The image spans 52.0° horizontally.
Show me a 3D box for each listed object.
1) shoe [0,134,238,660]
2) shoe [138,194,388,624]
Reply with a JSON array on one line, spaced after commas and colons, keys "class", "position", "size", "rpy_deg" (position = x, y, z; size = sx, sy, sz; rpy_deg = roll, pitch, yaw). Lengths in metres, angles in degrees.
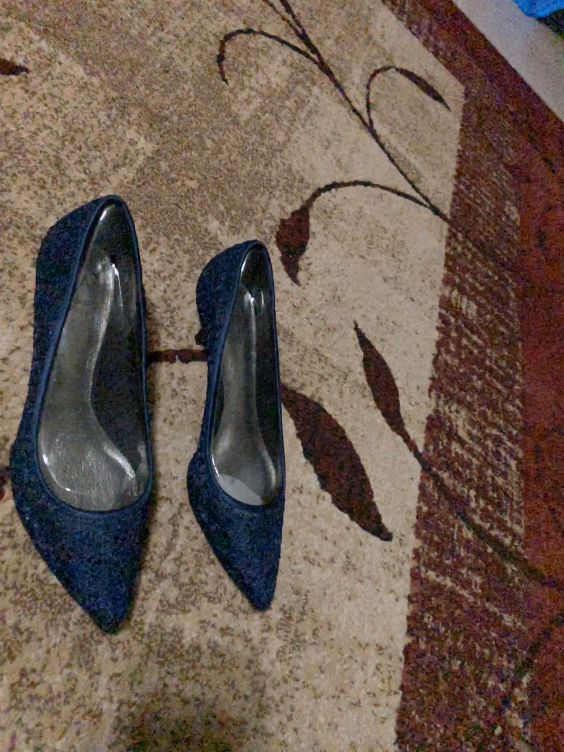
[{"class": "shoe", "position": [-0.119, 0.005, 0.362], "size": [0.088, 0.088, 0.293], "rpy_deg": [1, 65, -39]}, {"class": "shoe", "position": [-0.025, 0.018, 0.428], "size": [0.088, 0.088, 0.284], "rpy_deg": [1, 65, -39]}]
